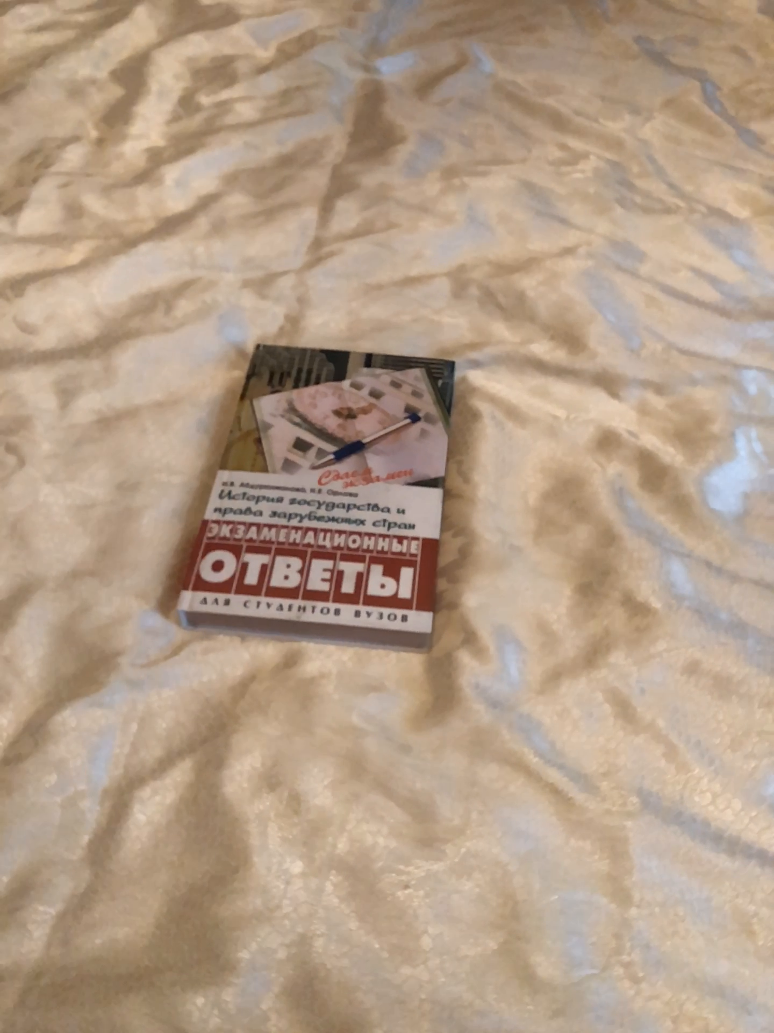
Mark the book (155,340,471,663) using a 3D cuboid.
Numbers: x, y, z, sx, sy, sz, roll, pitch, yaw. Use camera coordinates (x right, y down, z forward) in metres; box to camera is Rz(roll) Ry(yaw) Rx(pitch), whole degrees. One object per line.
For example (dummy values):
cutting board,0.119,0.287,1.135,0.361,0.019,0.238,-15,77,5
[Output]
book,-0.033,-0.020,0.520,0.150,0.030,0.211,6,52,5
